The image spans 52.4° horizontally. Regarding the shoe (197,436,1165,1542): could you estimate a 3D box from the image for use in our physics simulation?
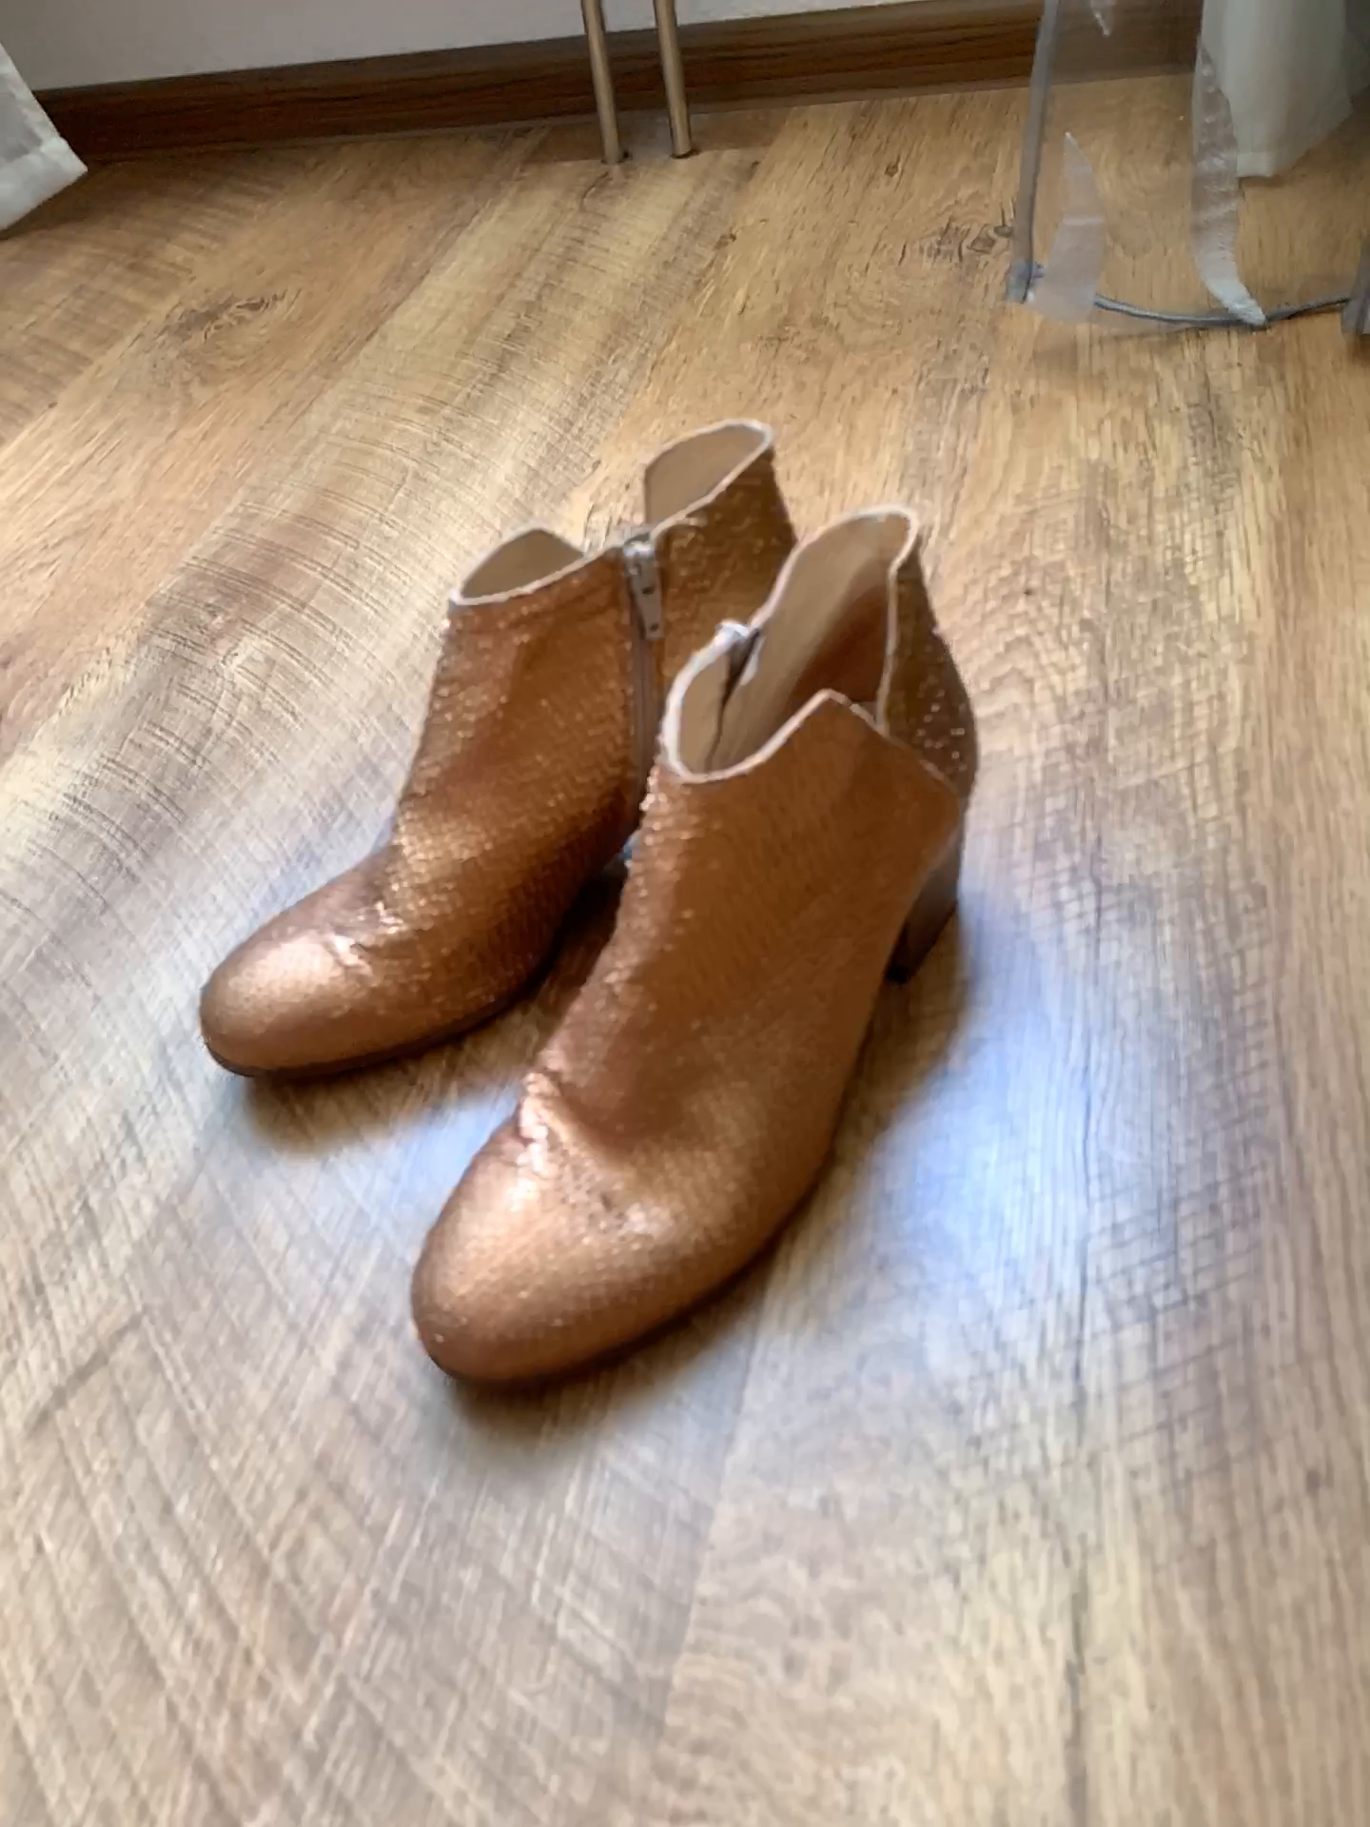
[{"bbox_3d":[0.020,0.007,0.328,0.080,0.129,0.220,24,56,31],"label":"shoe"}]

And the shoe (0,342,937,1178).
[{"bbox_3d":[-0.046,-0.045,0.385,0.220,0.129,0.080,-27,47,-14],"label":"shoe"}]
